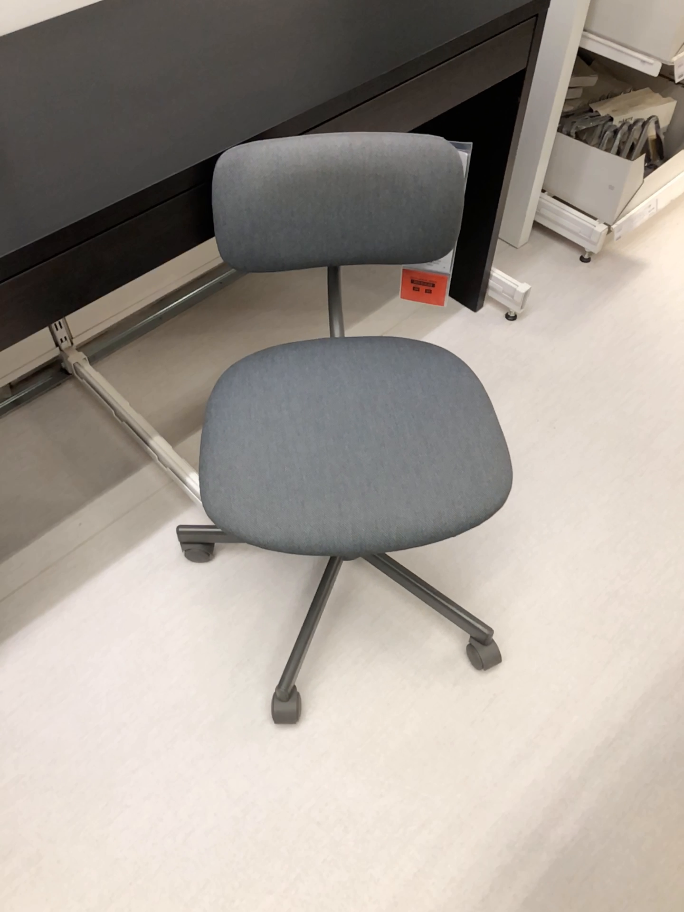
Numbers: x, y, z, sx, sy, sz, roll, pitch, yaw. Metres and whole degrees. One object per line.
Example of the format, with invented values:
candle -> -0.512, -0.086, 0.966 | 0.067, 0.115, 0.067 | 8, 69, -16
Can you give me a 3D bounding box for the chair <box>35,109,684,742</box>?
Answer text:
chair -> 0.012, -0.020, 1.106 | 0.620, 0.676, 0.593 | -4, 52, -4
